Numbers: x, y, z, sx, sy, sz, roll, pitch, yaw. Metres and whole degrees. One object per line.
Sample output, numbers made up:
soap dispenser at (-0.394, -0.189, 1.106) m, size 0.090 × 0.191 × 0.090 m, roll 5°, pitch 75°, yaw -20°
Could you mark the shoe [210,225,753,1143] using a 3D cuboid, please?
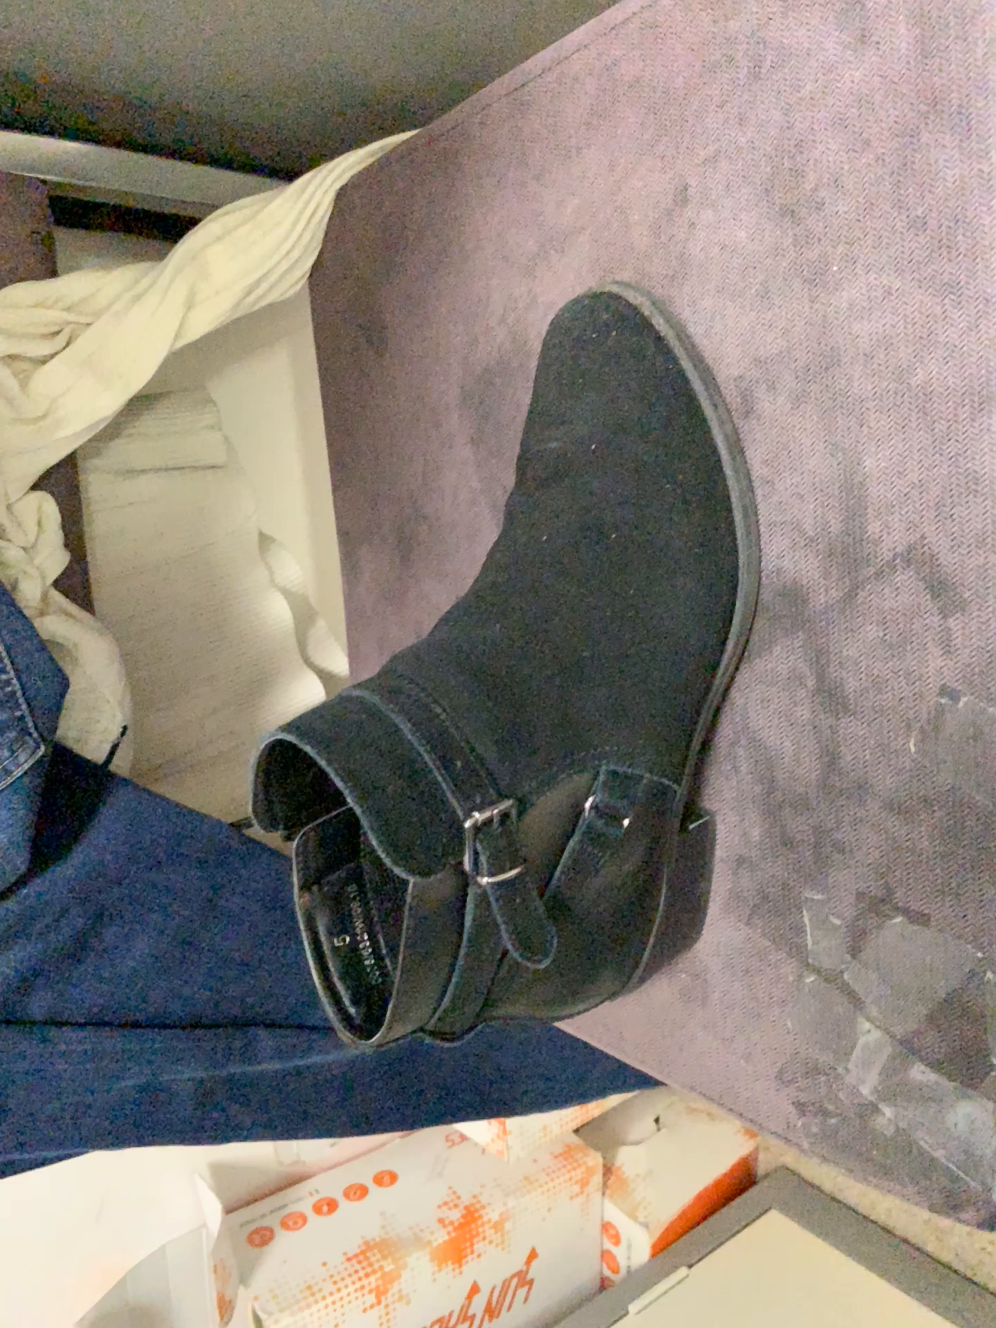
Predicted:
shoe at (0.000, 0.000, 0.339) m, size 0.101 × 0.137 × 0.235 m, roll 8°, pitch 103°, yaw 51°
